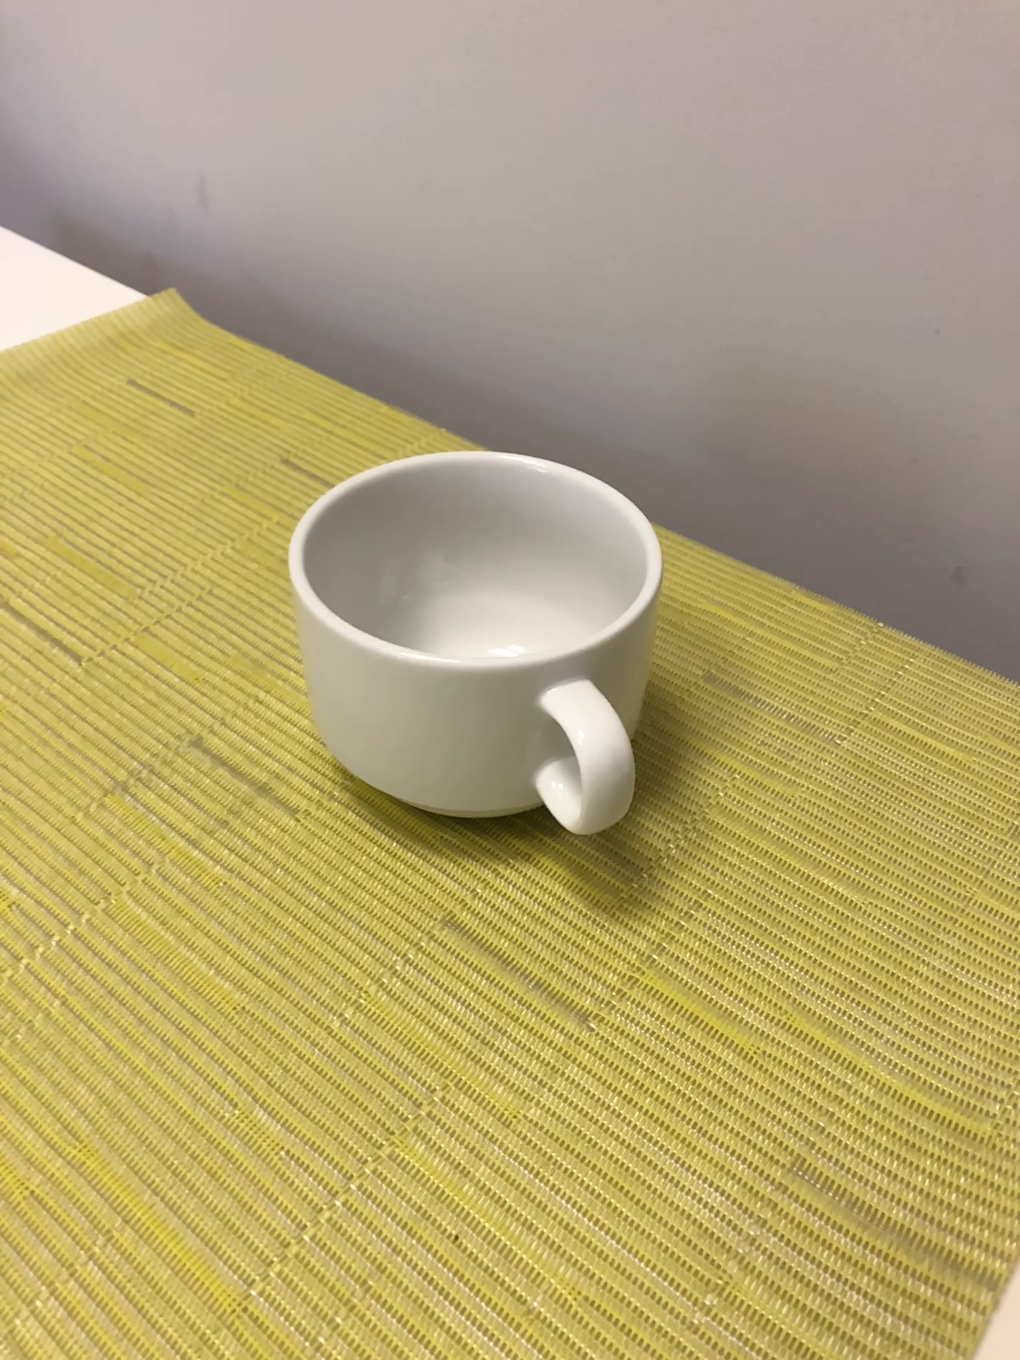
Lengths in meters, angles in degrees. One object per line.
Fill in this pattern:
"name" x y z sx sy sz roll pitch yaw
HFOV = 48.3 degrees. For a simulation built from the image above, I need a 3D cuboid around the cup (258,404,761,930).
"cup" -0.008 -0.010 0.270 0.086 0.057 0.111 -8 41 -12
